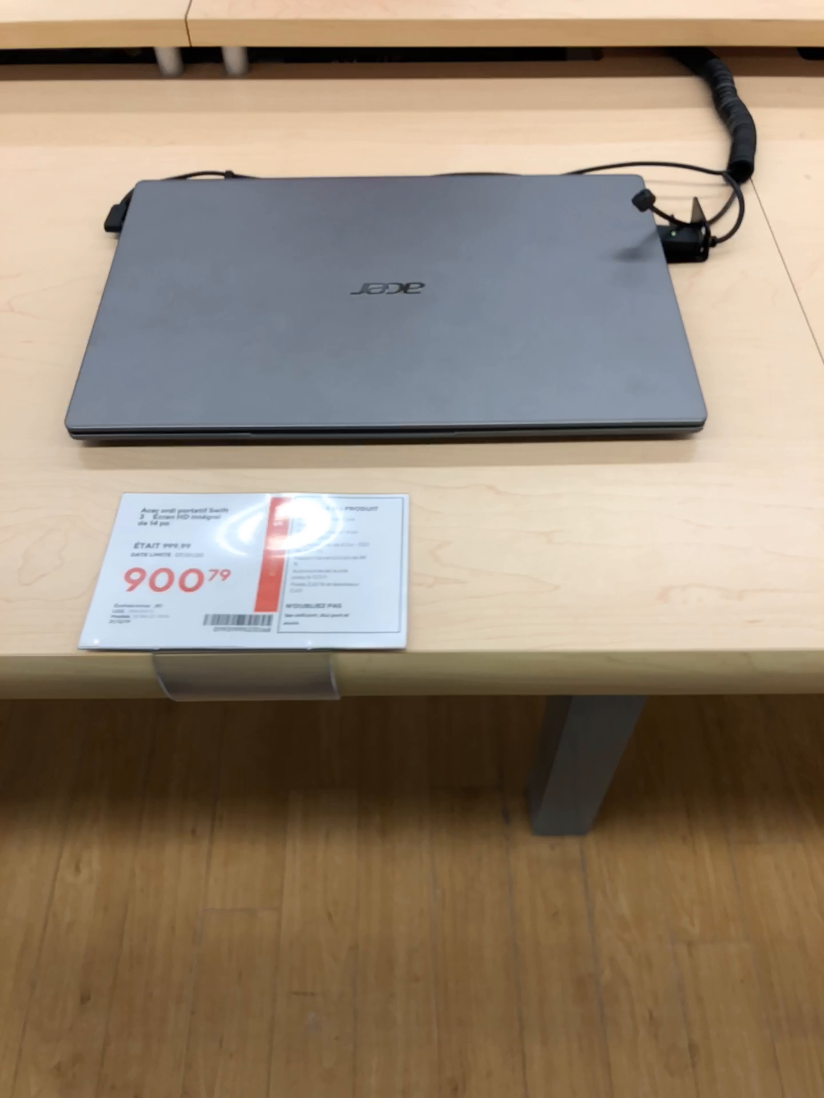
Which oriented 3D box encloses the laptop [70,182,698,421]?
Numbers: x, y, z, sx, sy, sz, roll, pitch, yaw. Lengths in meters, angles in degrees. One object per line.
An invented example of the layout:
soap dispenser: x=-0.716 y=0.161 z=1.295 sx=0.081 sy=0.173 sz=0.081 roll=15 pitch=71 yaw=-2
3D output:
laptop: x=-0.014 y=-0.145 z=0.506 sx=0.306 sy=0.001 sz=0.201 roll=0 pitch=54 yaw=0
